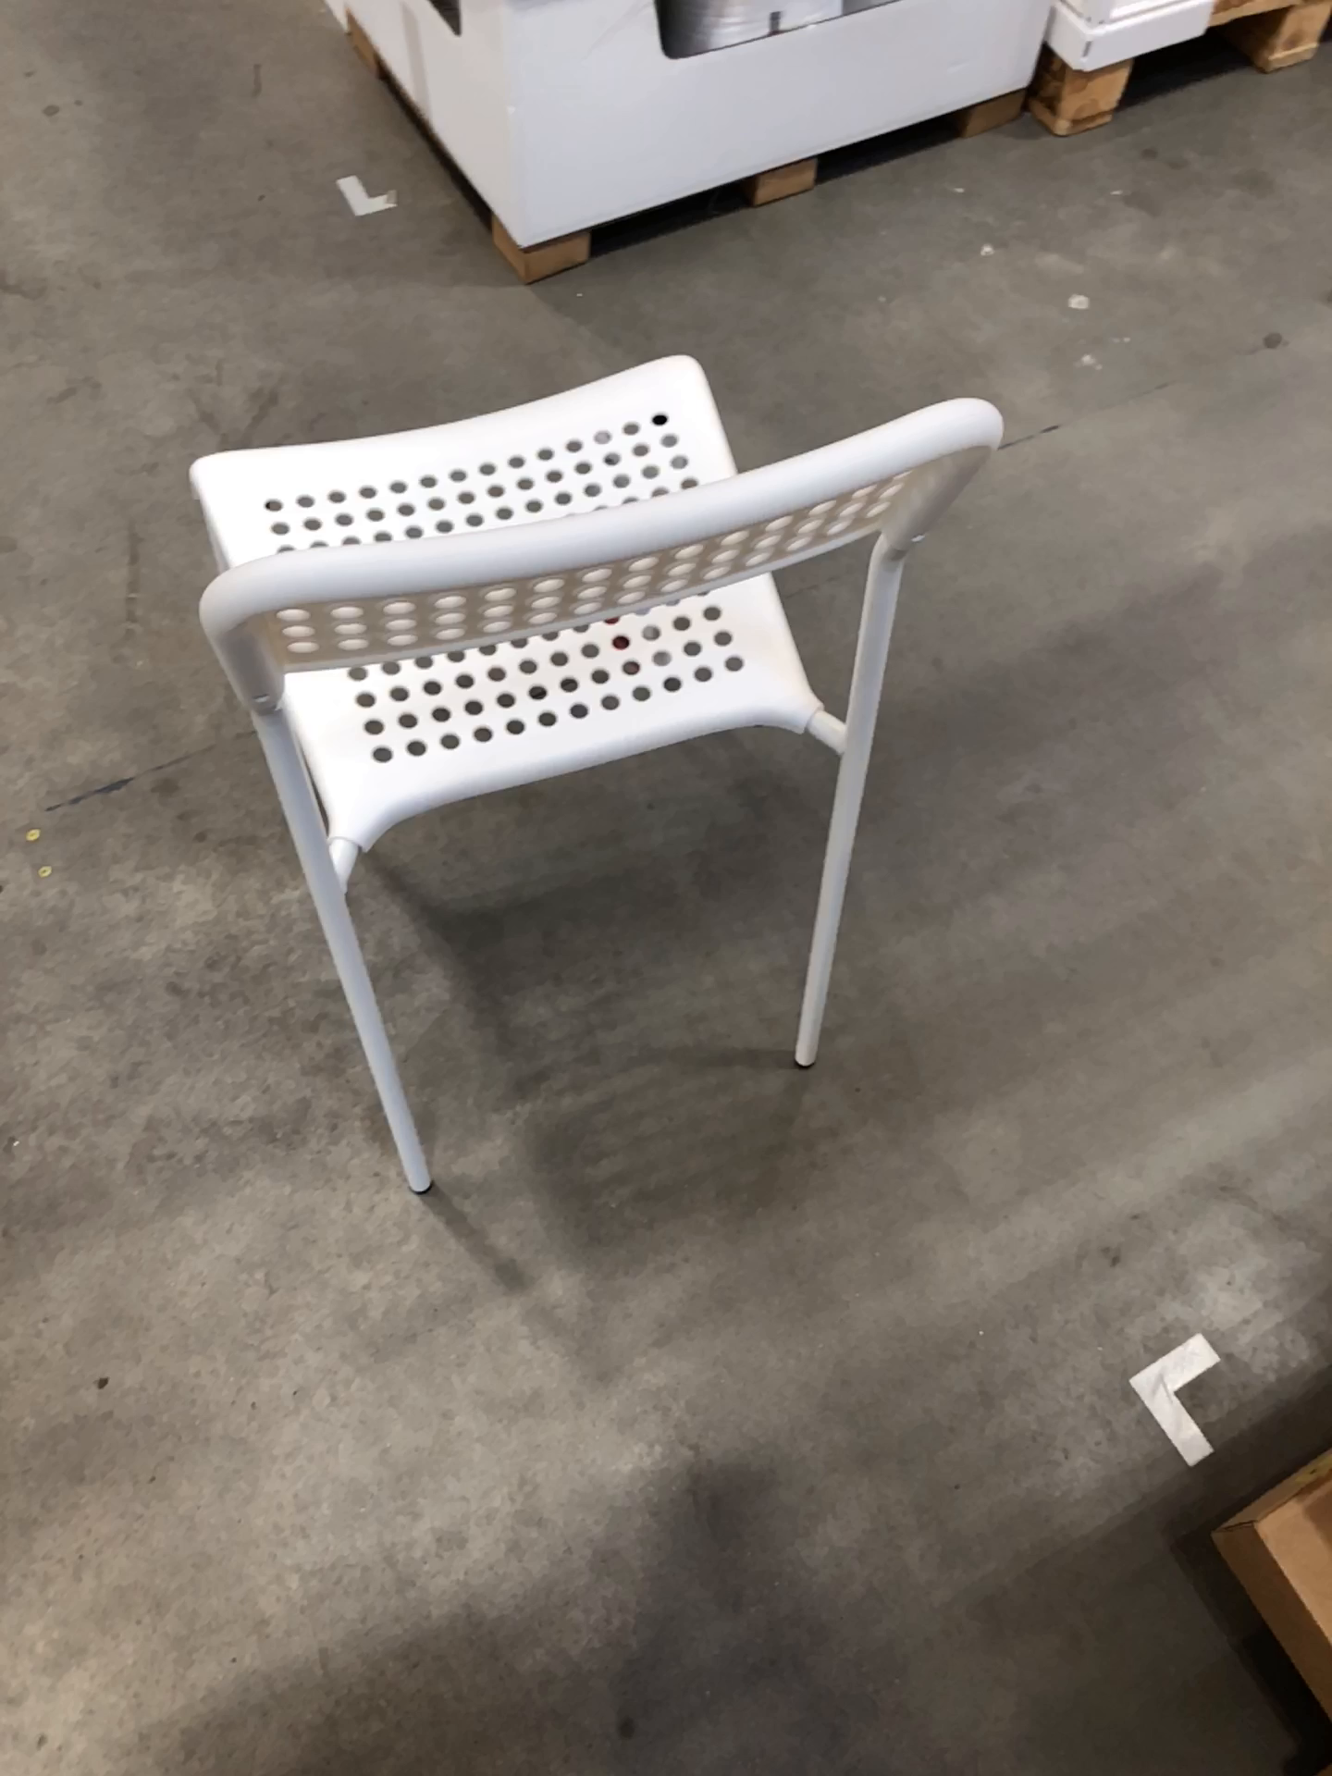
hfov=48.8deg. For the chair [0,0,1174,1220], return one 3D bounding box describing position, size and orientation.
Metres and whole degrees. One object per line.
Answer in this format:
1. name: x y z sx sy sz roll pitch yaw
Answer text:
1. chair: -0.096 -0.181 0.990 0.460 0.699 0.511 -14 63 -10
